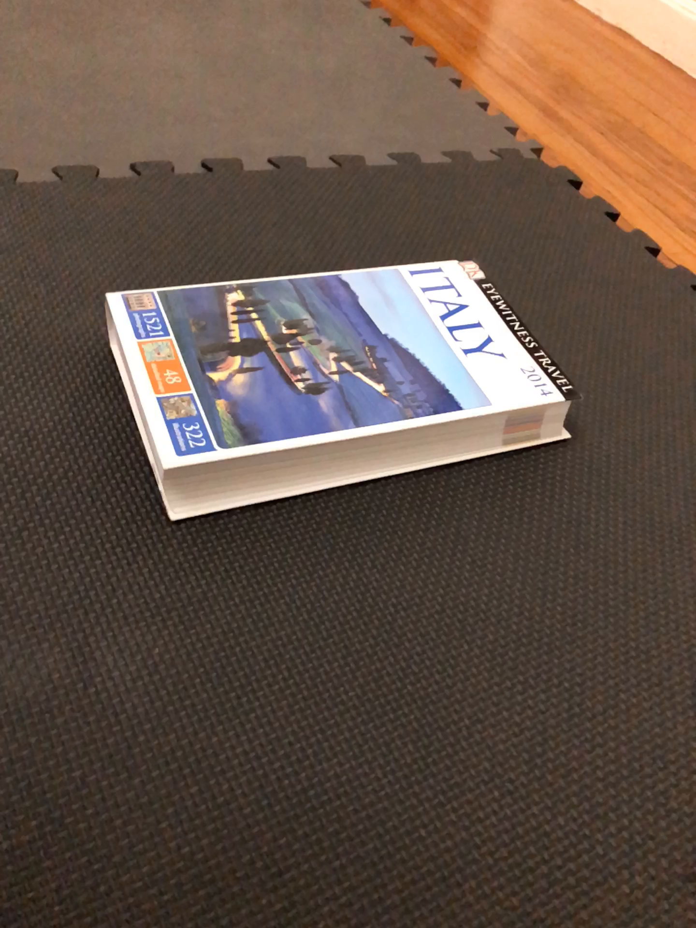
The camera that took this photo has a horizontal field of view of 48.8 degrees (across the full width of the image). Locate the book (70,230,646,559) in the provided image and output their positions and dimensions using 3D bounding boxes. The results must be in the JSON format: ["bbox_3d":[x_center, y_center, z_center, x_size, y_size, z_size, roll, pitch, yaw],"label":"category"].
[{"bbox_3d":[0.002,-0.054,0.399,0.251,0.040,0.161,-11,50,-23],"label":"book"}]
